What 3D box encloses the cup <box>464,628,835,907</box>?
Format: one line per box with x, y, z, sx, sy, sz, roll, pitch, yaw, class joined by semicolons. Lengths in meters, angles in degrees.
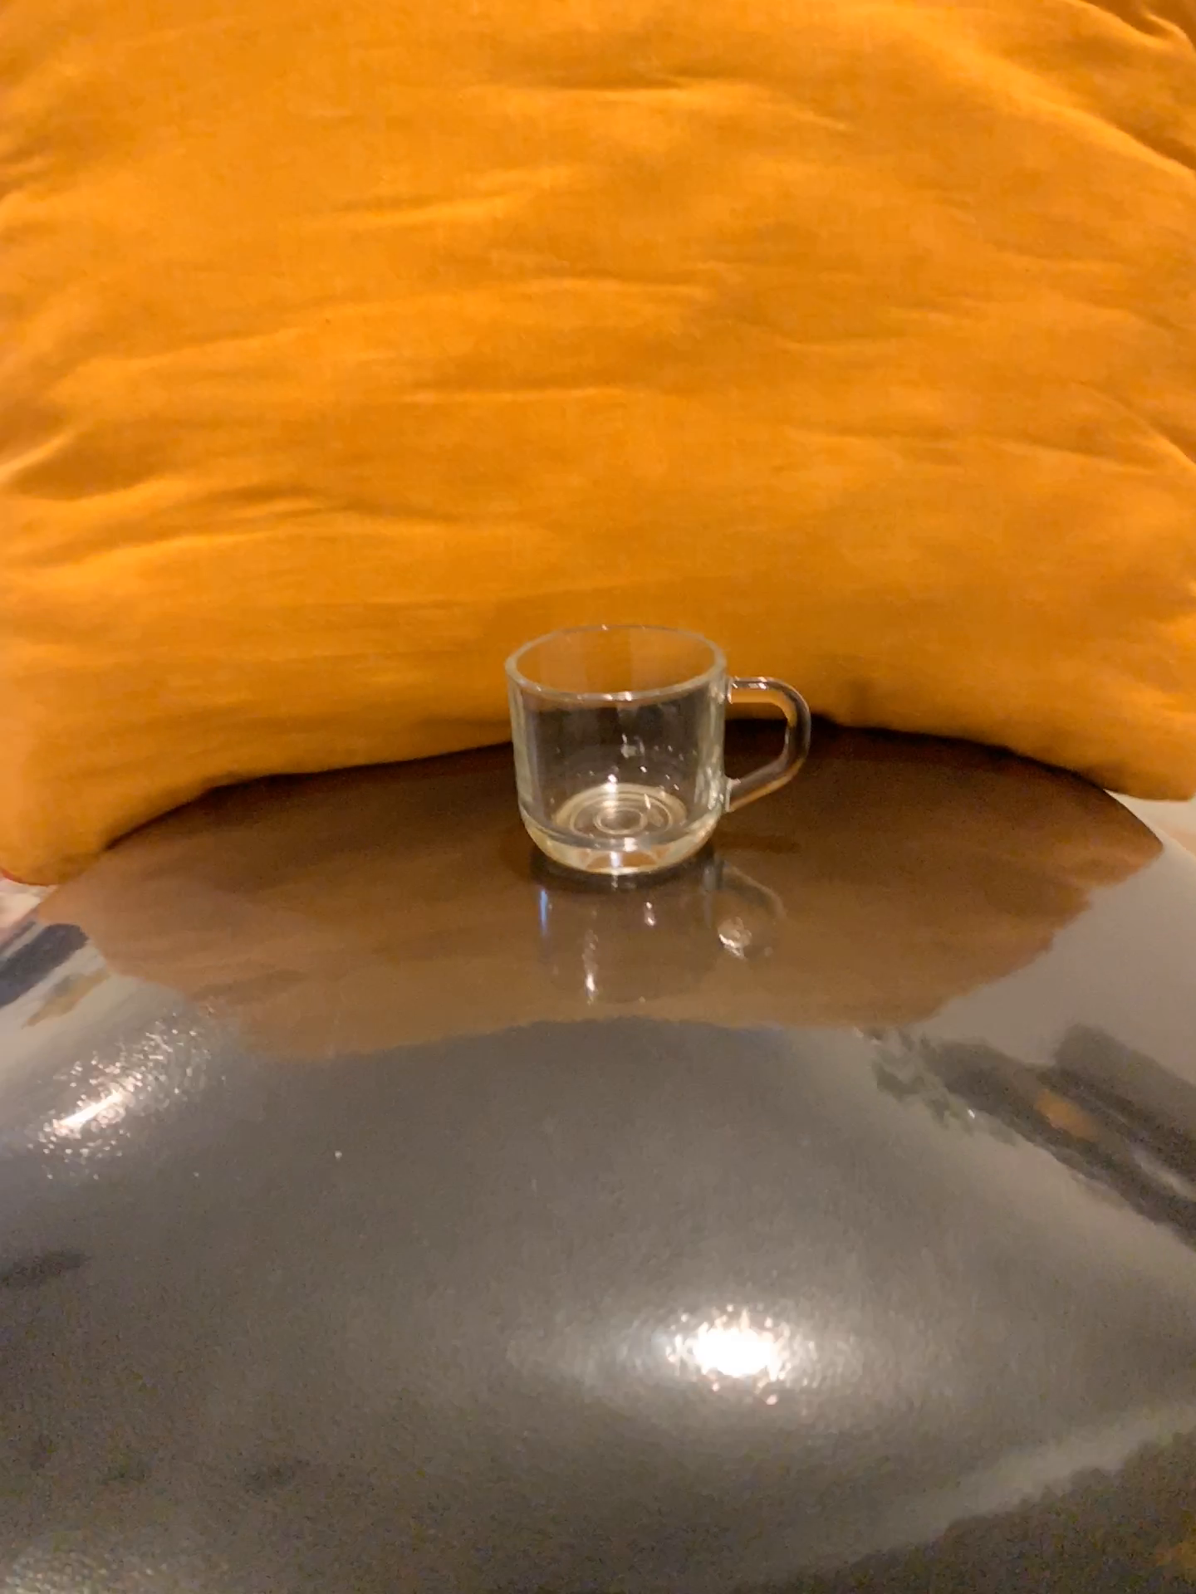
0.017;-0.012;0.375;0.100;0.060;0.071;1;26;5;cup
